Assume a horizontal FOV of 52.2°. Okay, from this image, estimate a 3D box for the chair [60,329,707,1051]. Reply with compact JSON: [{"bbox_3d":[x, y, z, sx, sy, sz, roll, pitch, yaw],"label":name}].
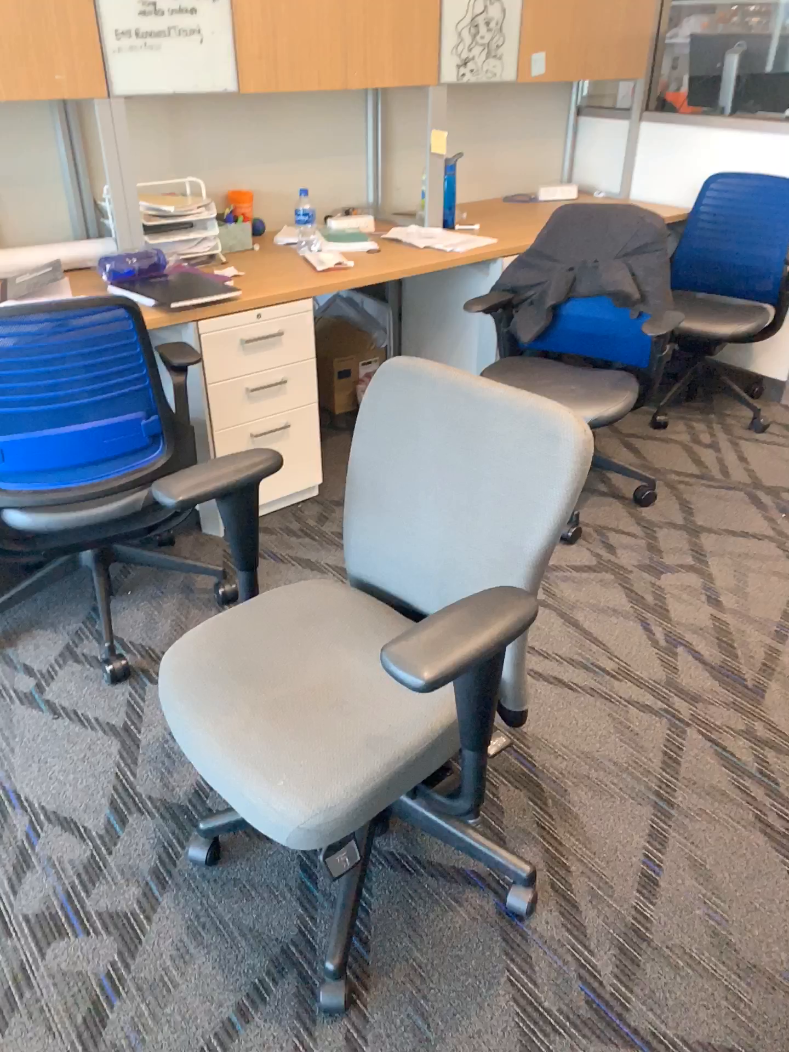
[{"bbox_3d":[-0.042,0.208,1.362,0.662,0.813,0.674,-21,36,-32],"label":"chair"}]
